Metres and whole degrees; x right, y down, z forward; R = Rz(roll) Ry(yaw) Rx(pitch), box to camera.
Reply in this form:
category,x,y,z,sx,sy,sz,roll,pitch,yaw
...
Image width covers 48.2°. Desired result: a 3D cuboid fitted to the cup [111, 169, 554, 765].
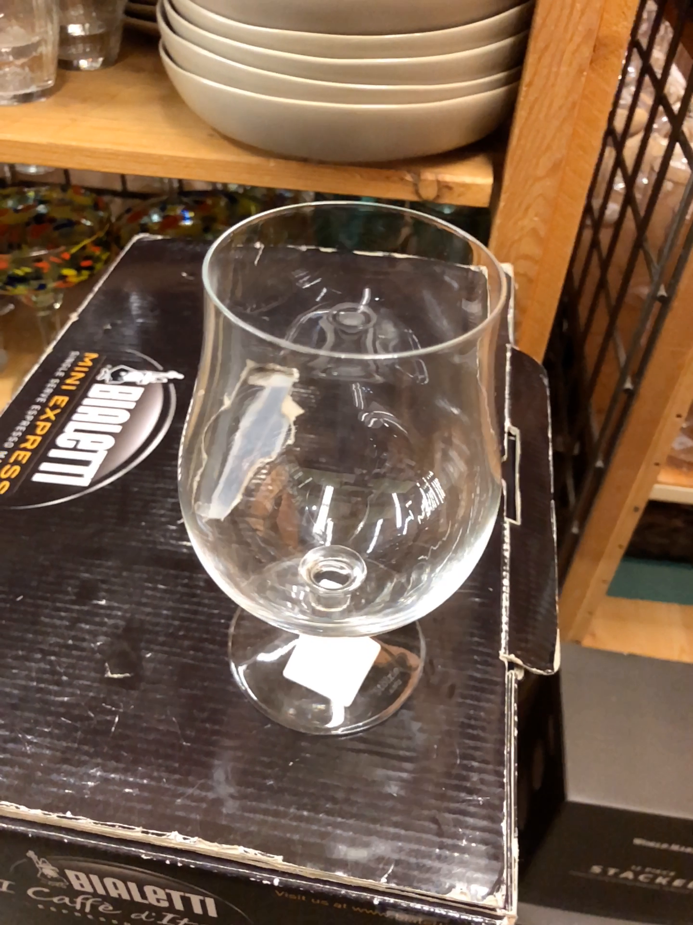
category,x,y,z,sx,sy,sz,roll,pitch,yaw
cup,-0.001,0.008,0.220,0.082,0.145,0.080,2,43,-2
